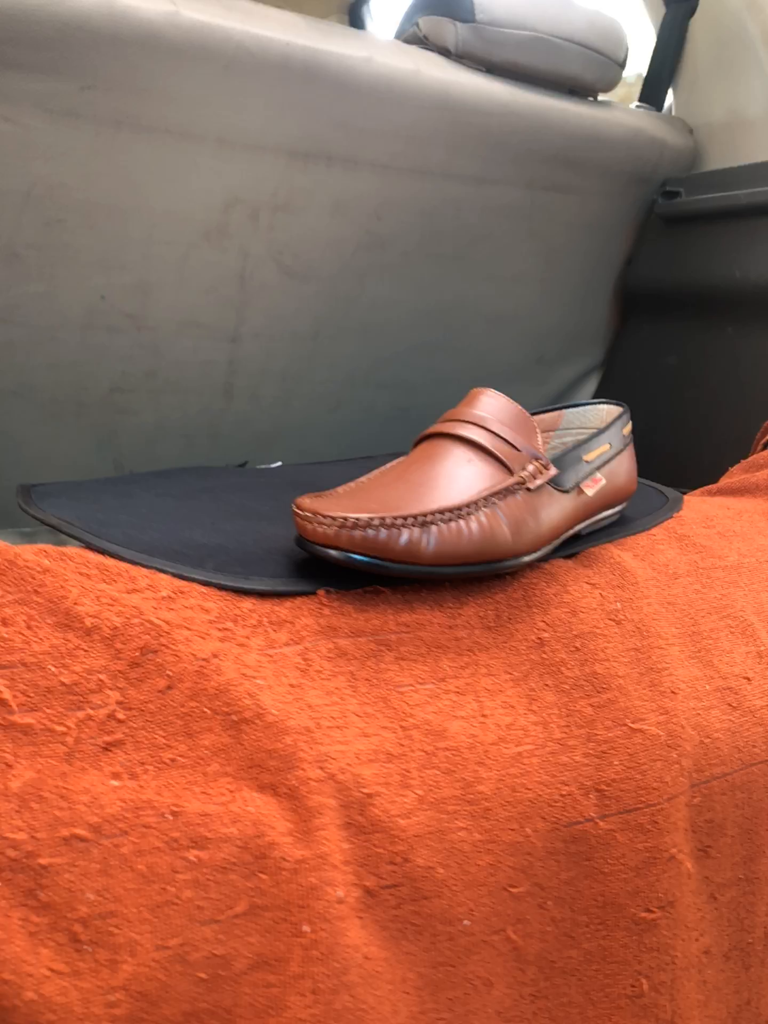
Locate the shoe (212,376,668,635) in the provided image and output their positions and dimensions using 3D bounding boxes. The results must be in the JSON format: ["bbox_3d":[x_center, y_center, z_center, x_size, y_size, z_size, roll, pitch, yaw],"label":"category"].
[{"bbox_3d":[0.050,-0.023,0.487,0.110,0.070,0.281,15,22,38],"label":"shoe"}]
